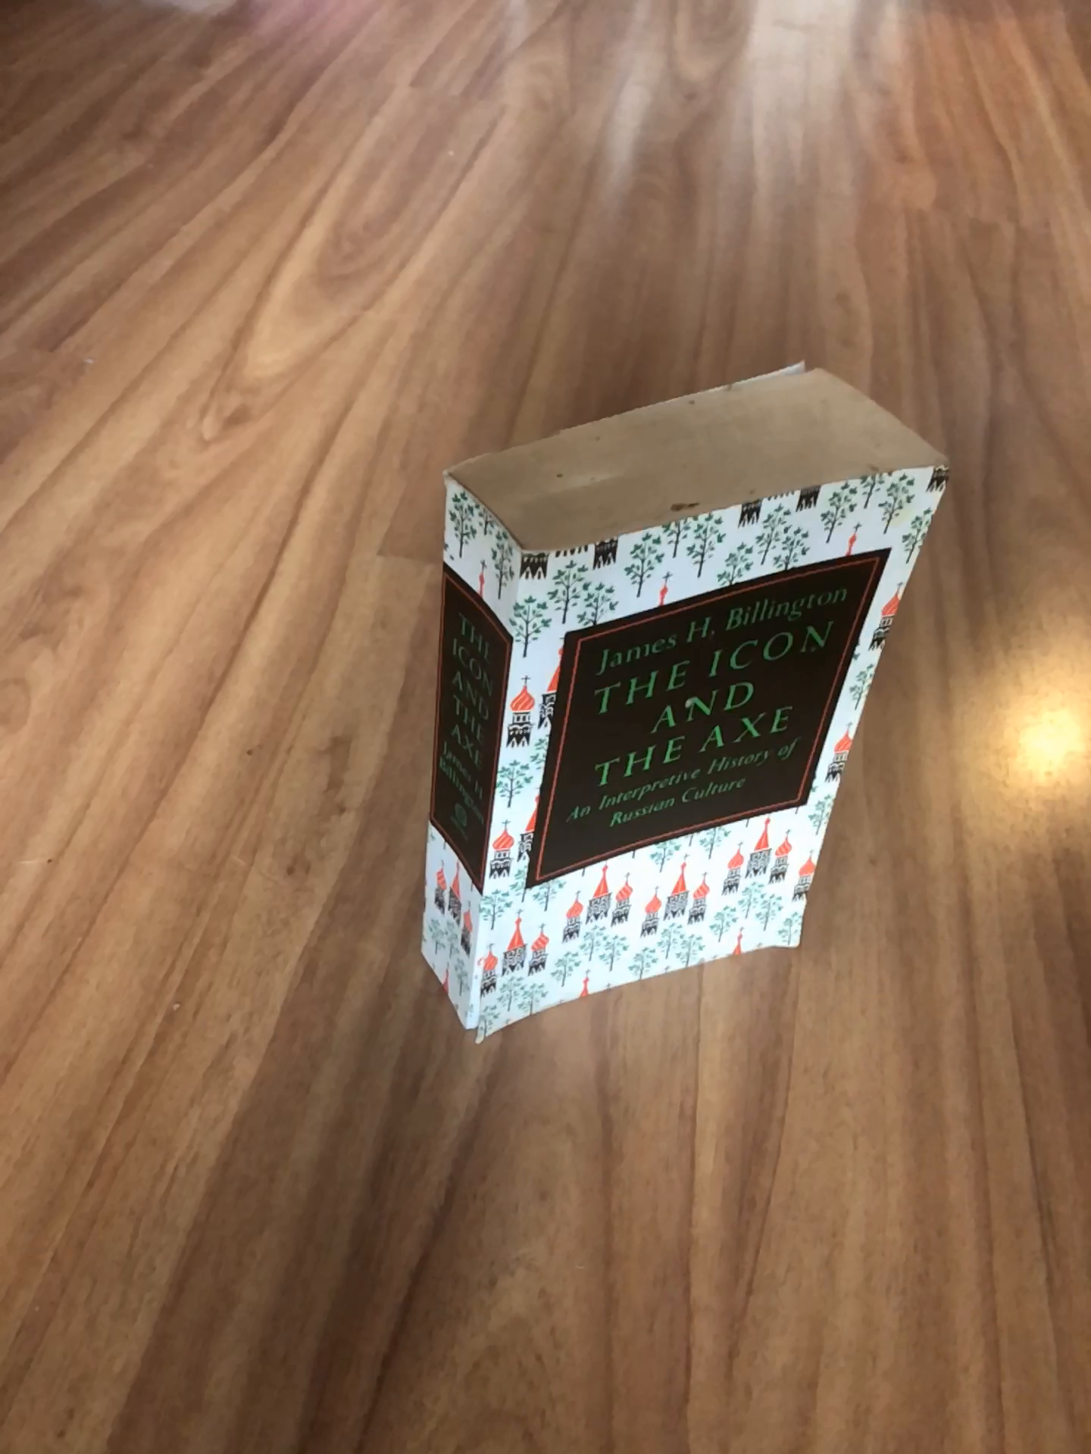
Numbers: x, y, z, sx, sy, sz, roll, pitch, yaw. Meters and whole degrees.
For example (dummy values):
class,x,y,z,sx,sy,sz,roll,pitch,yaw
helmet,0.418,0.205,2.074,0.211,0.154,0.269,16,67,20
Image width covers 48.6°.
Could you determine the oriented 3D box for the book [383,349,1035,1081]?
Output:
class,x,y,z,sx,sy,sz,roll,pitch,yaw
book,0.033,0.002,0.360,0.150,0.199,0.060,-13,46,-21
